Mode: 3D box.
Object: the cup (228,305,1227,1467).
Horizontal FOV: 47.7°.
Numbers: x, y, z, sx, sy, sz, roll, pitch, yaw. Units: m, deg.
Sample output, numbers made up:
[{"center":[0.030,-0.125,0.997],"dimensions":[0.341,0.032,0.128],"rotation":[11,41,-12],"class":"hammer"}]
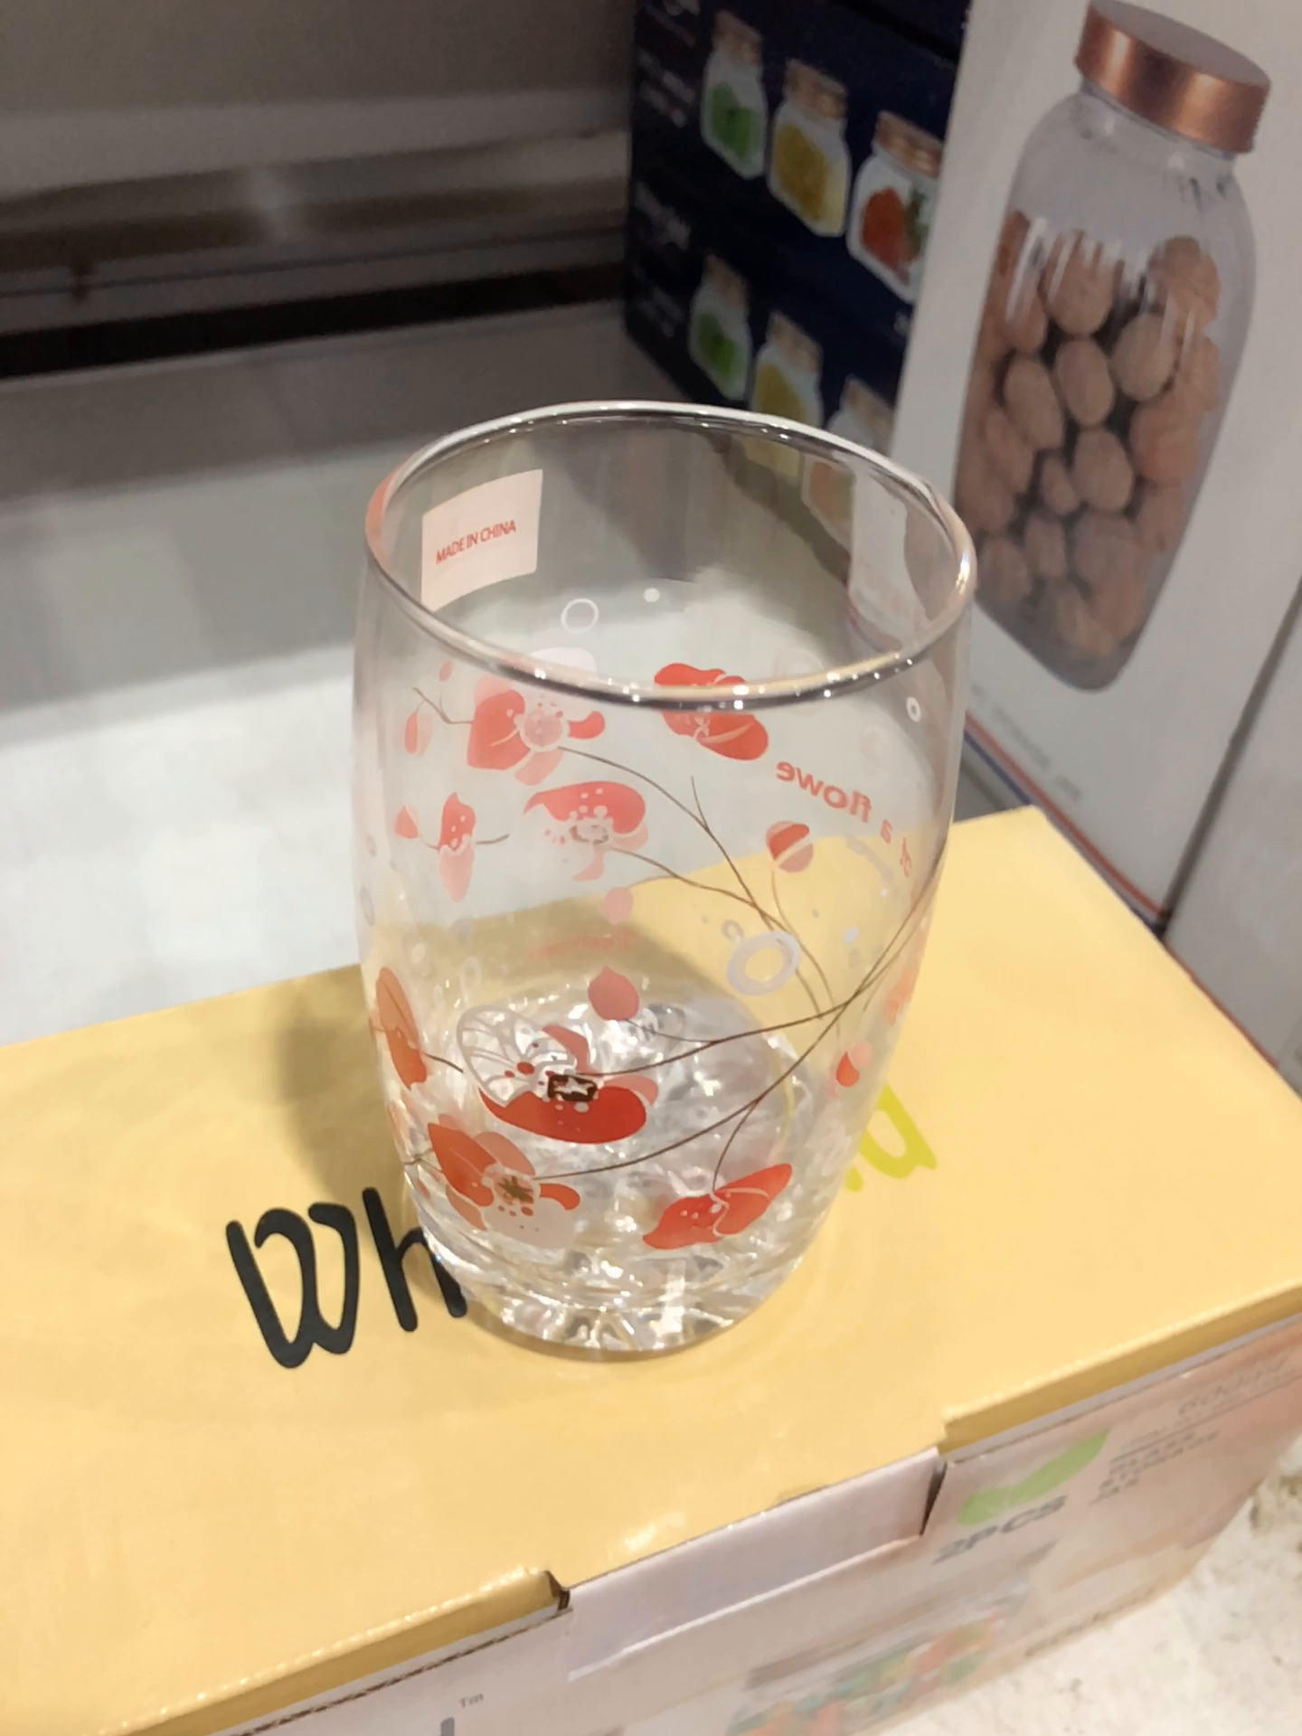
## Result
[{"center":[-0.003,0.002,0.180],"dimensions":[0.080,0.110,0.080],"rotation":[3,43,-3],"class":"cup"}]
